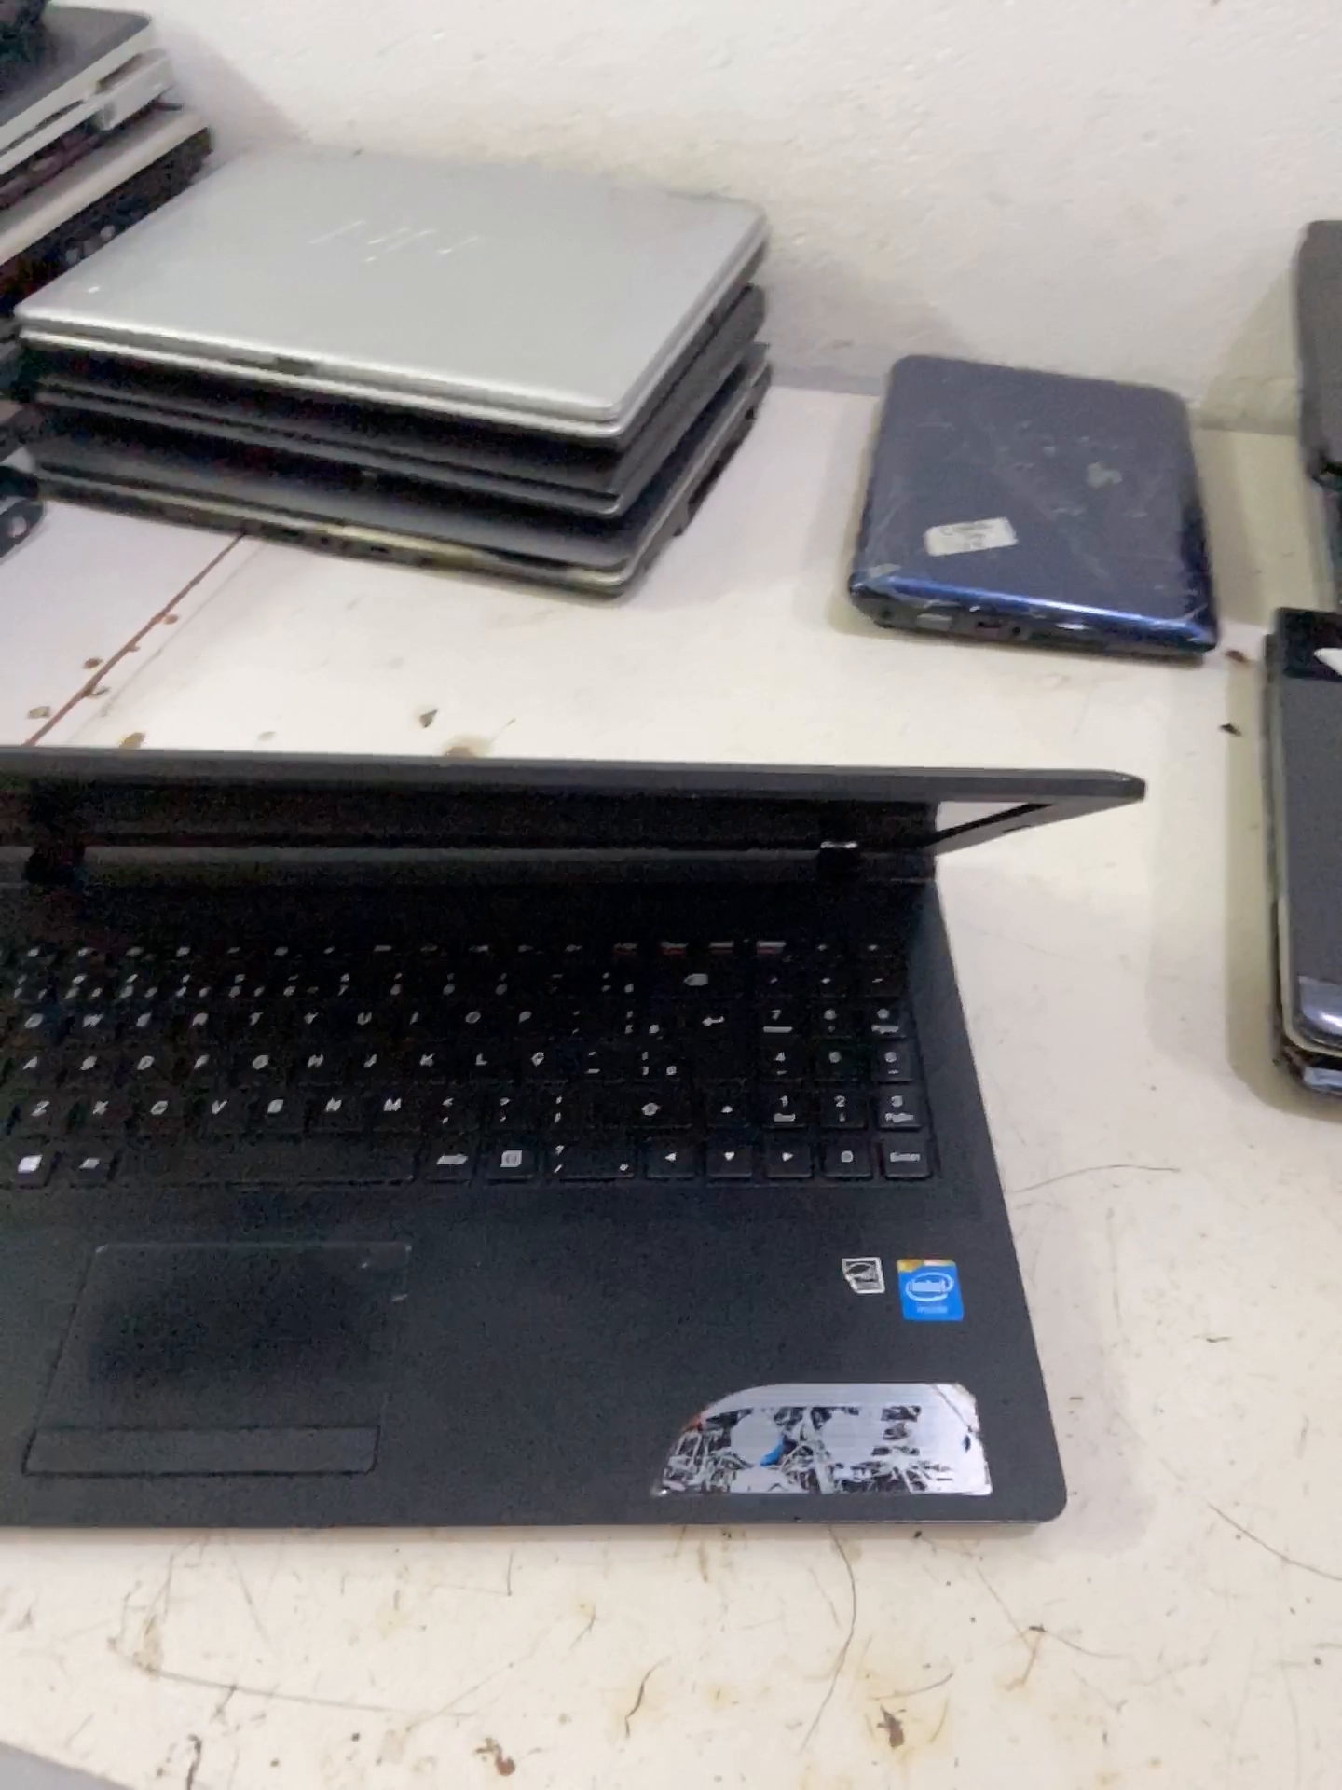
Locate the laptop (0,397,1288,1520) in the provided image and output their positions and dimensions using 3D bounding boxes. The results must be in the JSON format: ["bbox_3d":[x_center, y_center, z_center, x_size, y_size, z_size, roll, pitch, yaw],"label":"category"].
[{"bbox_3d":[-0.084,0.006,0.390,0.375,0.189,0.259,0,44,0],"label":"laptop"}]
